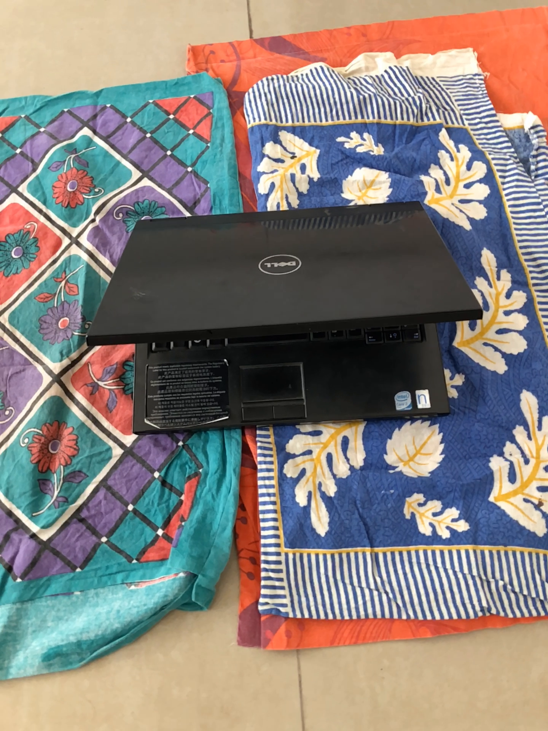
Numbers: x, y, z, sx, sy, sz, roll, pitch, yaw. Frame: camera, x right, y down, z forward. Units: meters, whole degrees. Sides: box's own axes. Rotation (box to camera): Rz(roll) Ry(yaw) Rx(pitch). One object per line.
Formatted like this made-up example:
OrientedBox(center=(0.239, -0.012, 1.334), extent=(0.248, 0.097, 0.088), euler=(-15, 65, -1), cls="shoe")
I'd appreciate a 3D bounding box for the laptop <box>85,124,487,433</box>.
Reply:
OrientedBox(center=(0.005, -0.075, 0.561), extent=(0.298, 0.144, 0.235), euler=(-3, 67, 1), cls="laptop")
